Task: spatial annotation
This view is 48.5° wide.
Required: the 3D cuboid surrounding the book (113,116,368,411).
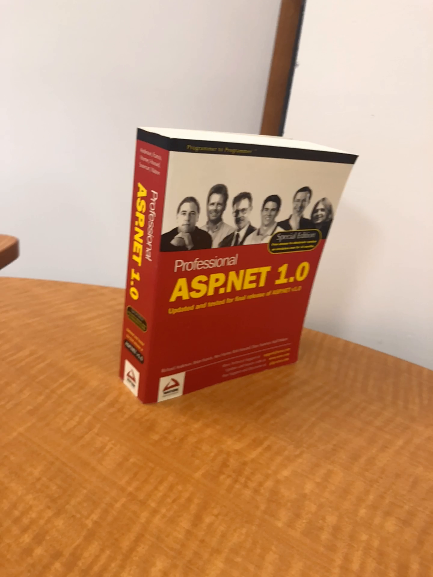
[{"bbox_3d":[0.022,-0.024,0.438,0.210,0.229,0.050,-8,27,-35],"label":"book"}]
